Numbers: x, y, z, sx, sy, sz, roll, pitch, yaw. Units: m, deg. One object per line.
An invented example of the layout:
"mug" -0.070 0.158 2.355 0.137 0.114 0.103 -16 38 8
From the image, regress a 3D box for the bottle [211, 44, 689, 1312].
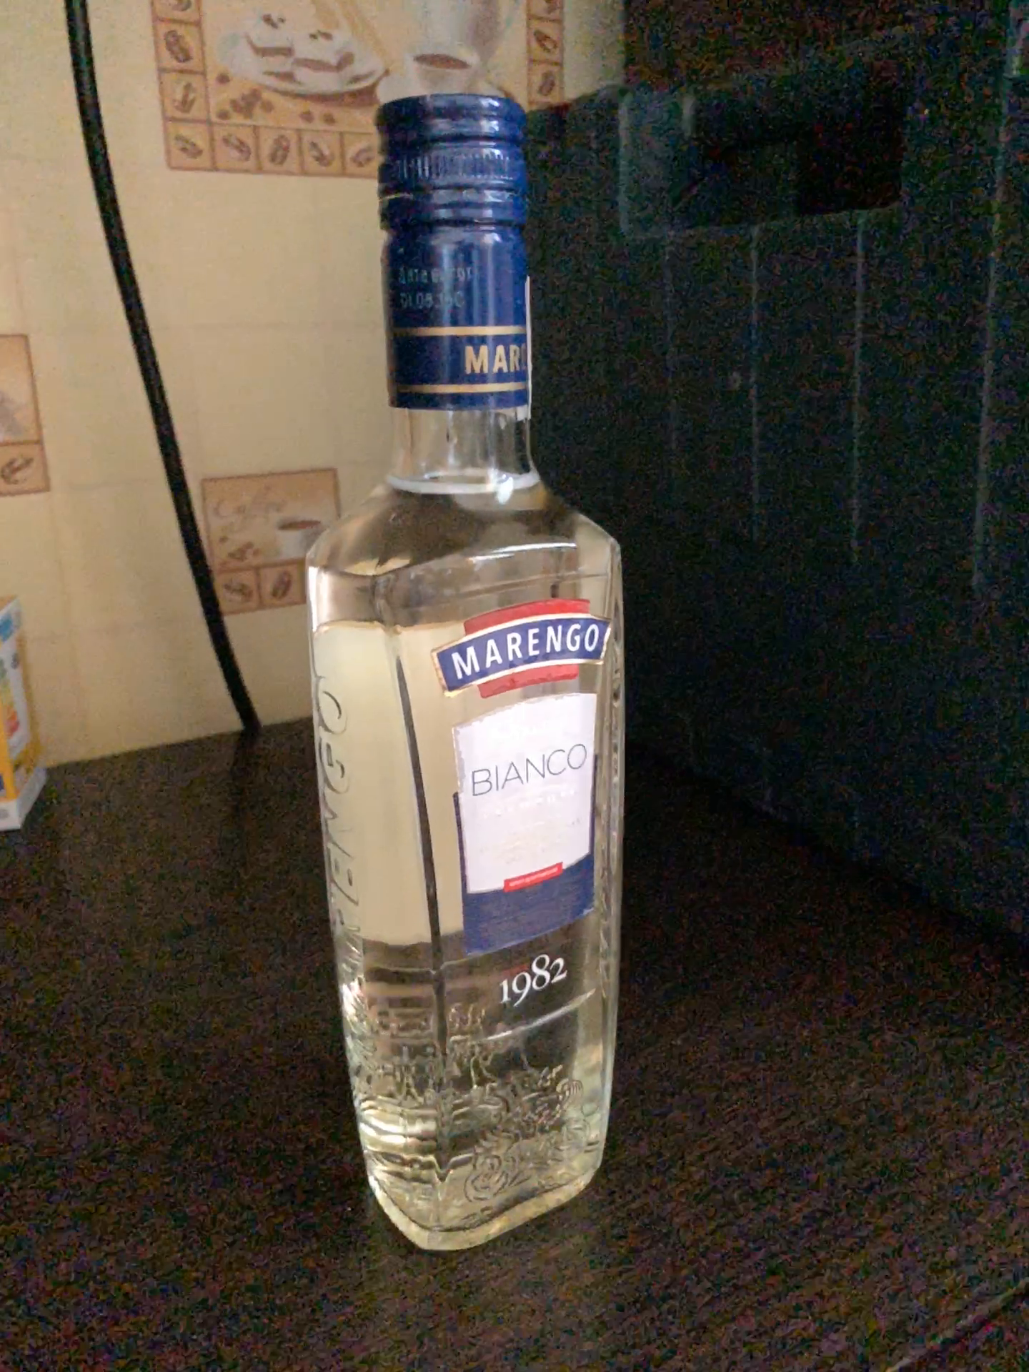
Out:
"bottle" -0.012 0.010 0.274 0.090 0.289 0.050 -11 20 -28
